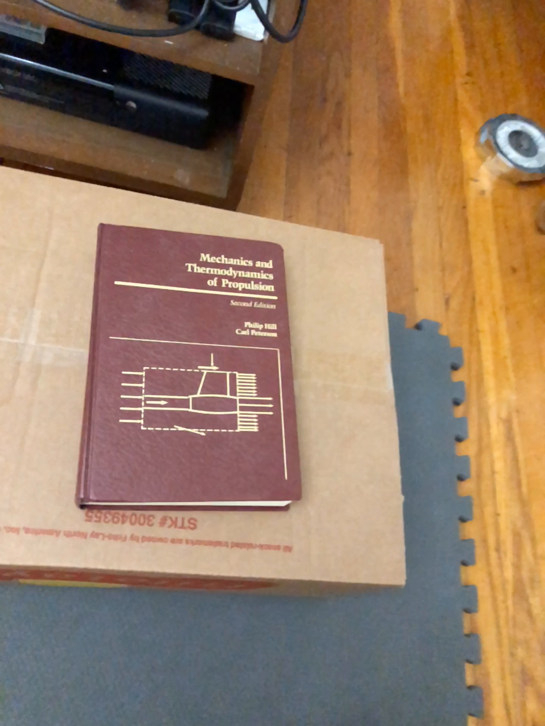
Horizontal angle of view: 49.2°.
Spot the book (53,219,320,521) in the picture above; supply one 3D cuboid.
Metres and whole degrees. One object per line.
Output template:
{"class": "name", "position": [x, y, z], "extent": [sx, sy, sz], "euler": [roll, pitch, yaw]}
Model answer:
{"class": "book", "position": [-0.065, 0.004, 0.492], "extent": [0.190, 0.040, 0.241], "euler": [5, 65, -14]}
